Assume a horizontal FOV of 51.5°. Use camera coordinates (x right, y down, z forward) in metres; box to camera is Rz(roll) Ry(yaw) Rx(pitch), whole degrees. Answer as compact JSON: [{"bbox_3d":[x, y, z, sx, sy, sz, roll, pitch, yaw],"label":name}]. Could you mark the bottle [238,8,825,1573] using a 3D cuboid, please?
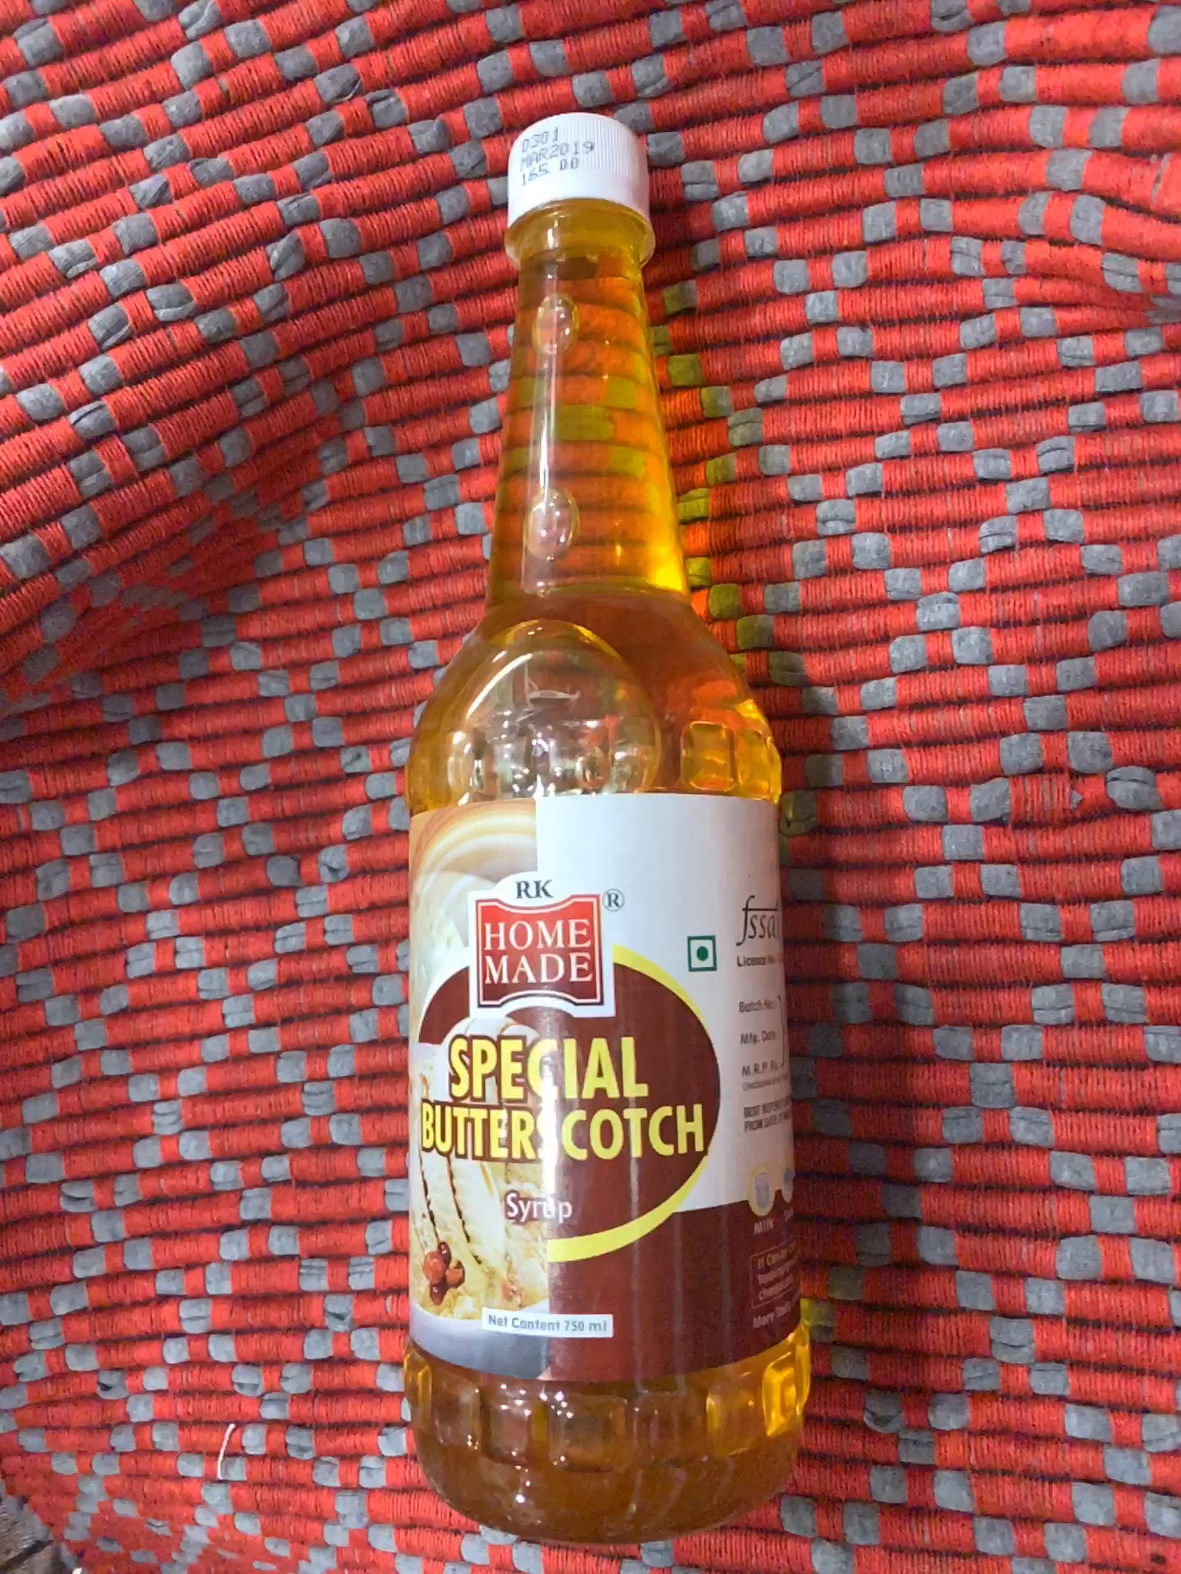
[{"bbox_3d":[-0.007,0.000,0.231,0.080,0.060,0.260,-5,77,23],"label":"bottle"}]
